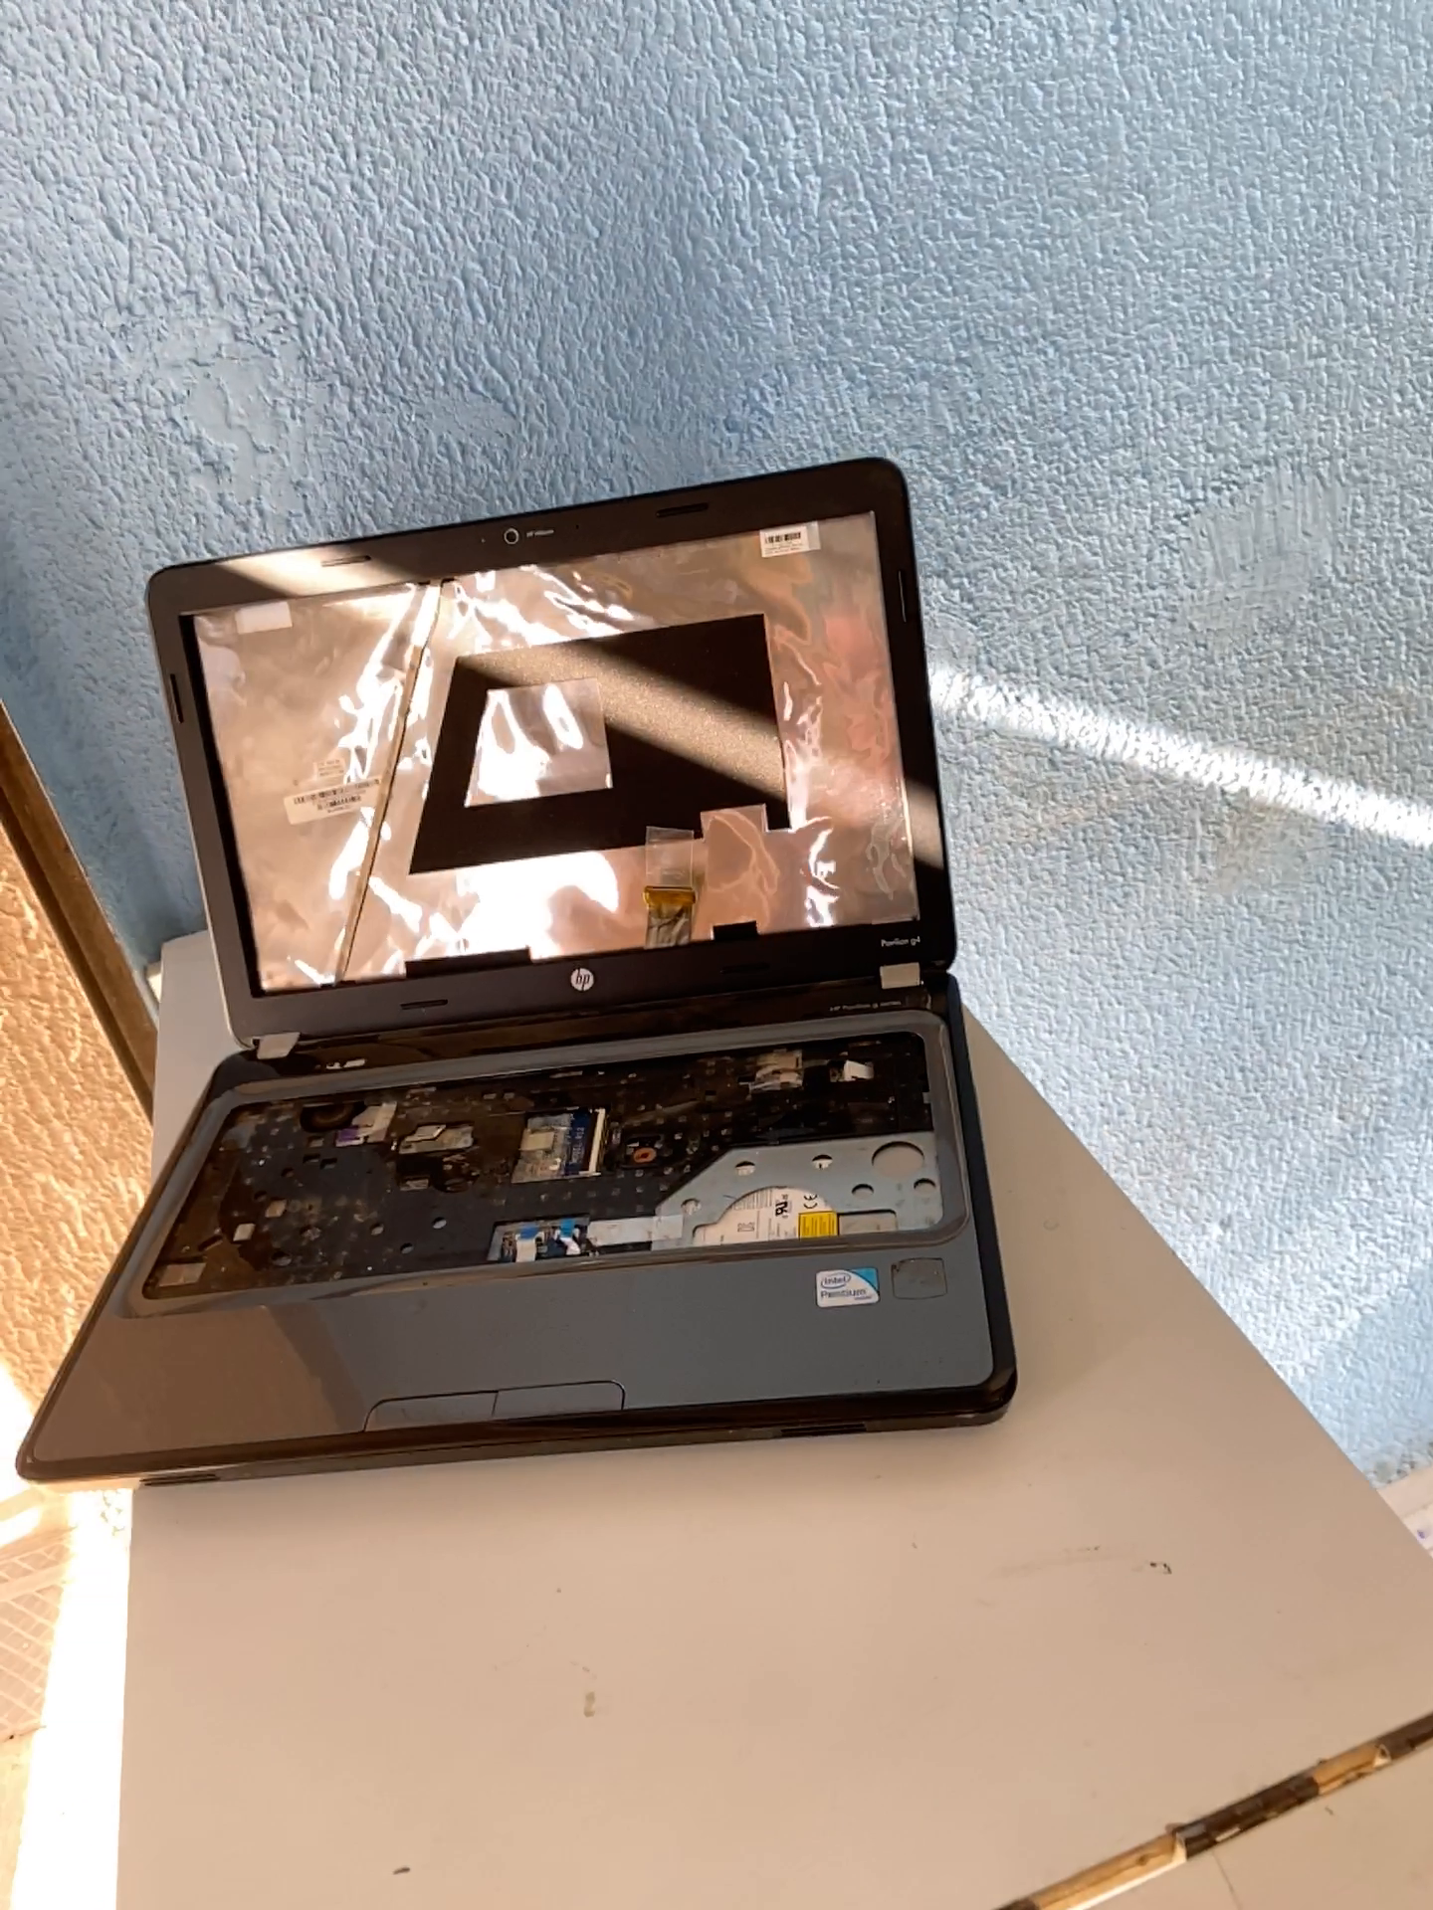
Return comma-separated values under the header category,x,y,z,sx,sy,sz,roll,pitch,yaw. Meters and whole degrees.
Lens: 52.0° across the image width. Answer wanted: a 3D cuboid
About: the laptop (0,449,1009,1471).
category,x,y,z,sx,sy,sz,roll,pitch,yaw
laptop,-0.081,-0.018,0.561,0.335,0.194,0.325,-7,33,9
